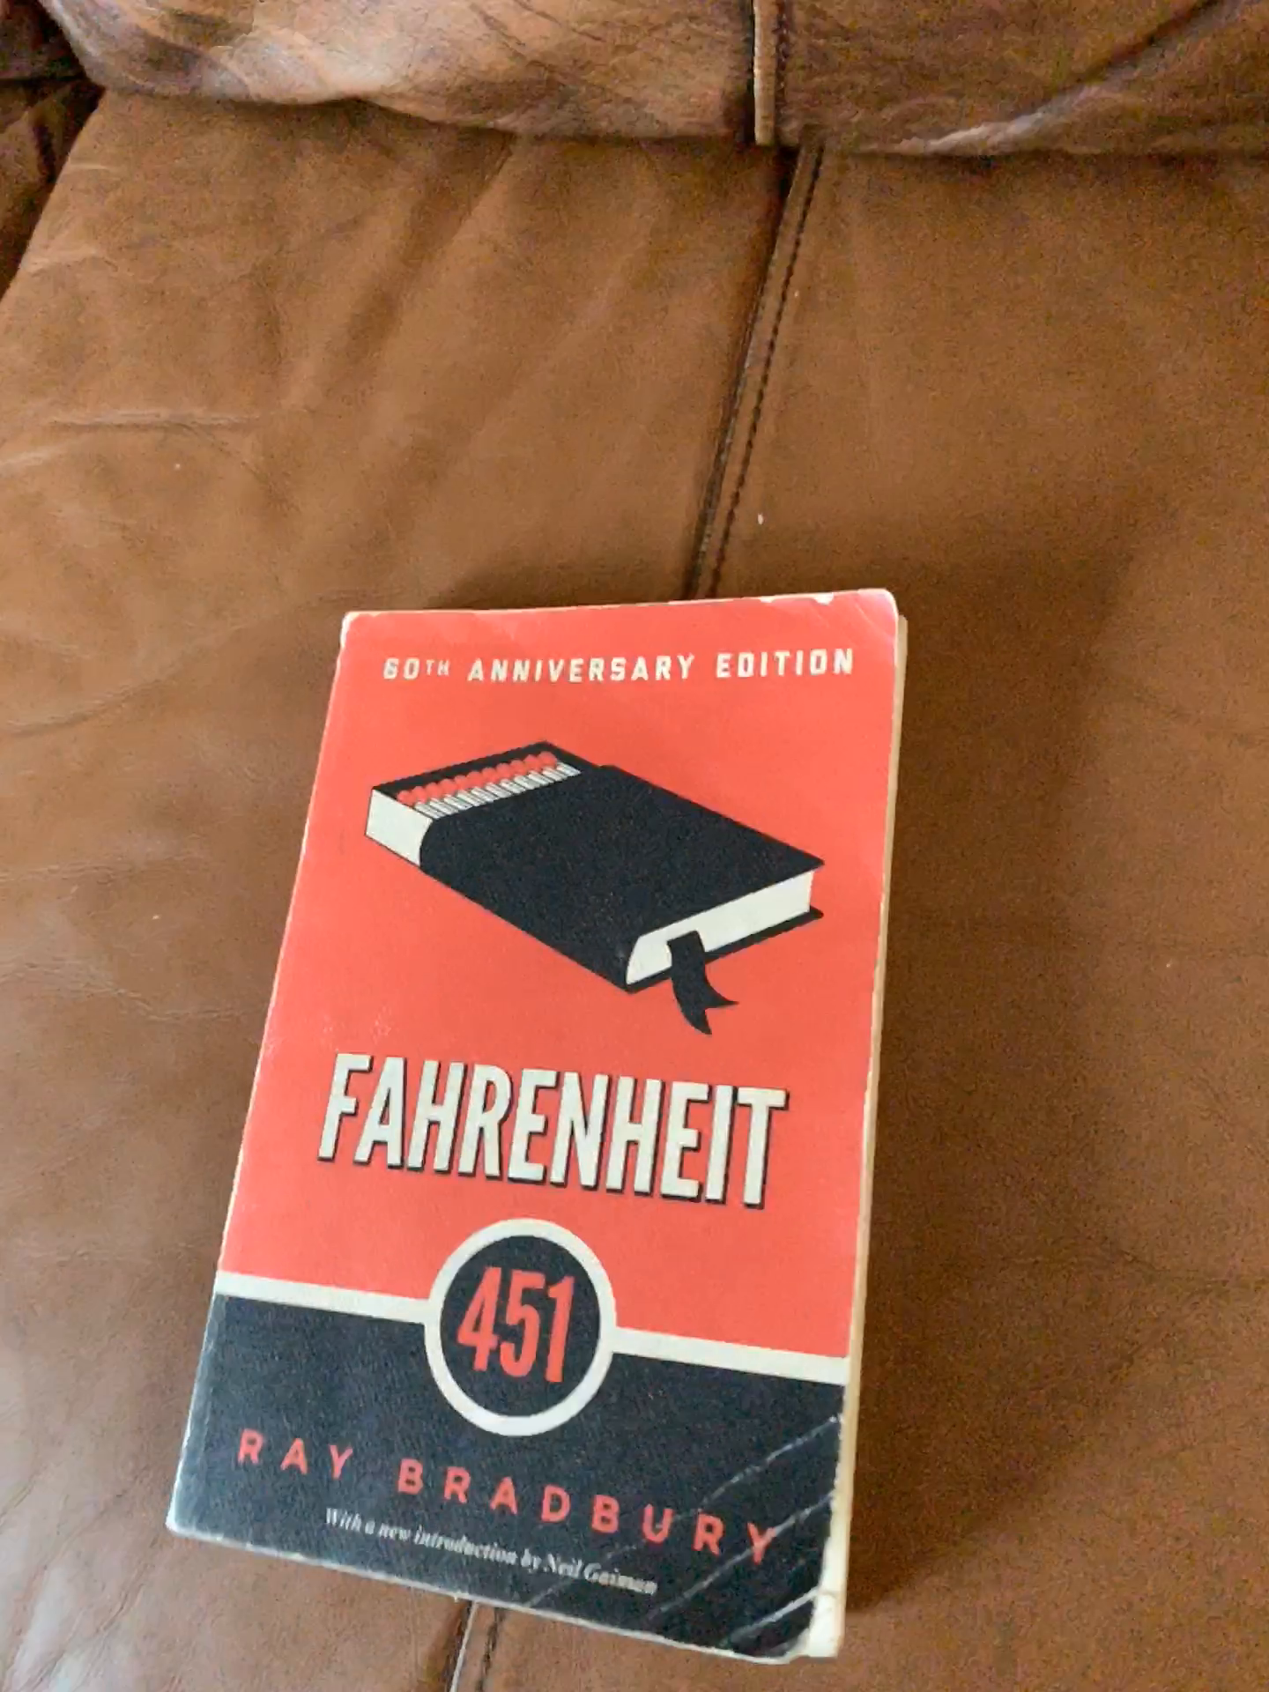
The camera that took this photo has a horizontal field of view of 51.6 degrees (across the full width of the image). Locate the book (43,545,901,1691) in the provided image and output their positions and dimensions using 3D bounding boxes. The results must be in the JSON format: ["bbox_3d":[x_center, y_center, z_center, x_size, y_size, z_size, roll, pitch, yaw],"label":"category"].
[{"bbox_3d":[-0.023,0.041,0.286,0.150,0.040,0.220,2,71,12],"label":"book"}]
